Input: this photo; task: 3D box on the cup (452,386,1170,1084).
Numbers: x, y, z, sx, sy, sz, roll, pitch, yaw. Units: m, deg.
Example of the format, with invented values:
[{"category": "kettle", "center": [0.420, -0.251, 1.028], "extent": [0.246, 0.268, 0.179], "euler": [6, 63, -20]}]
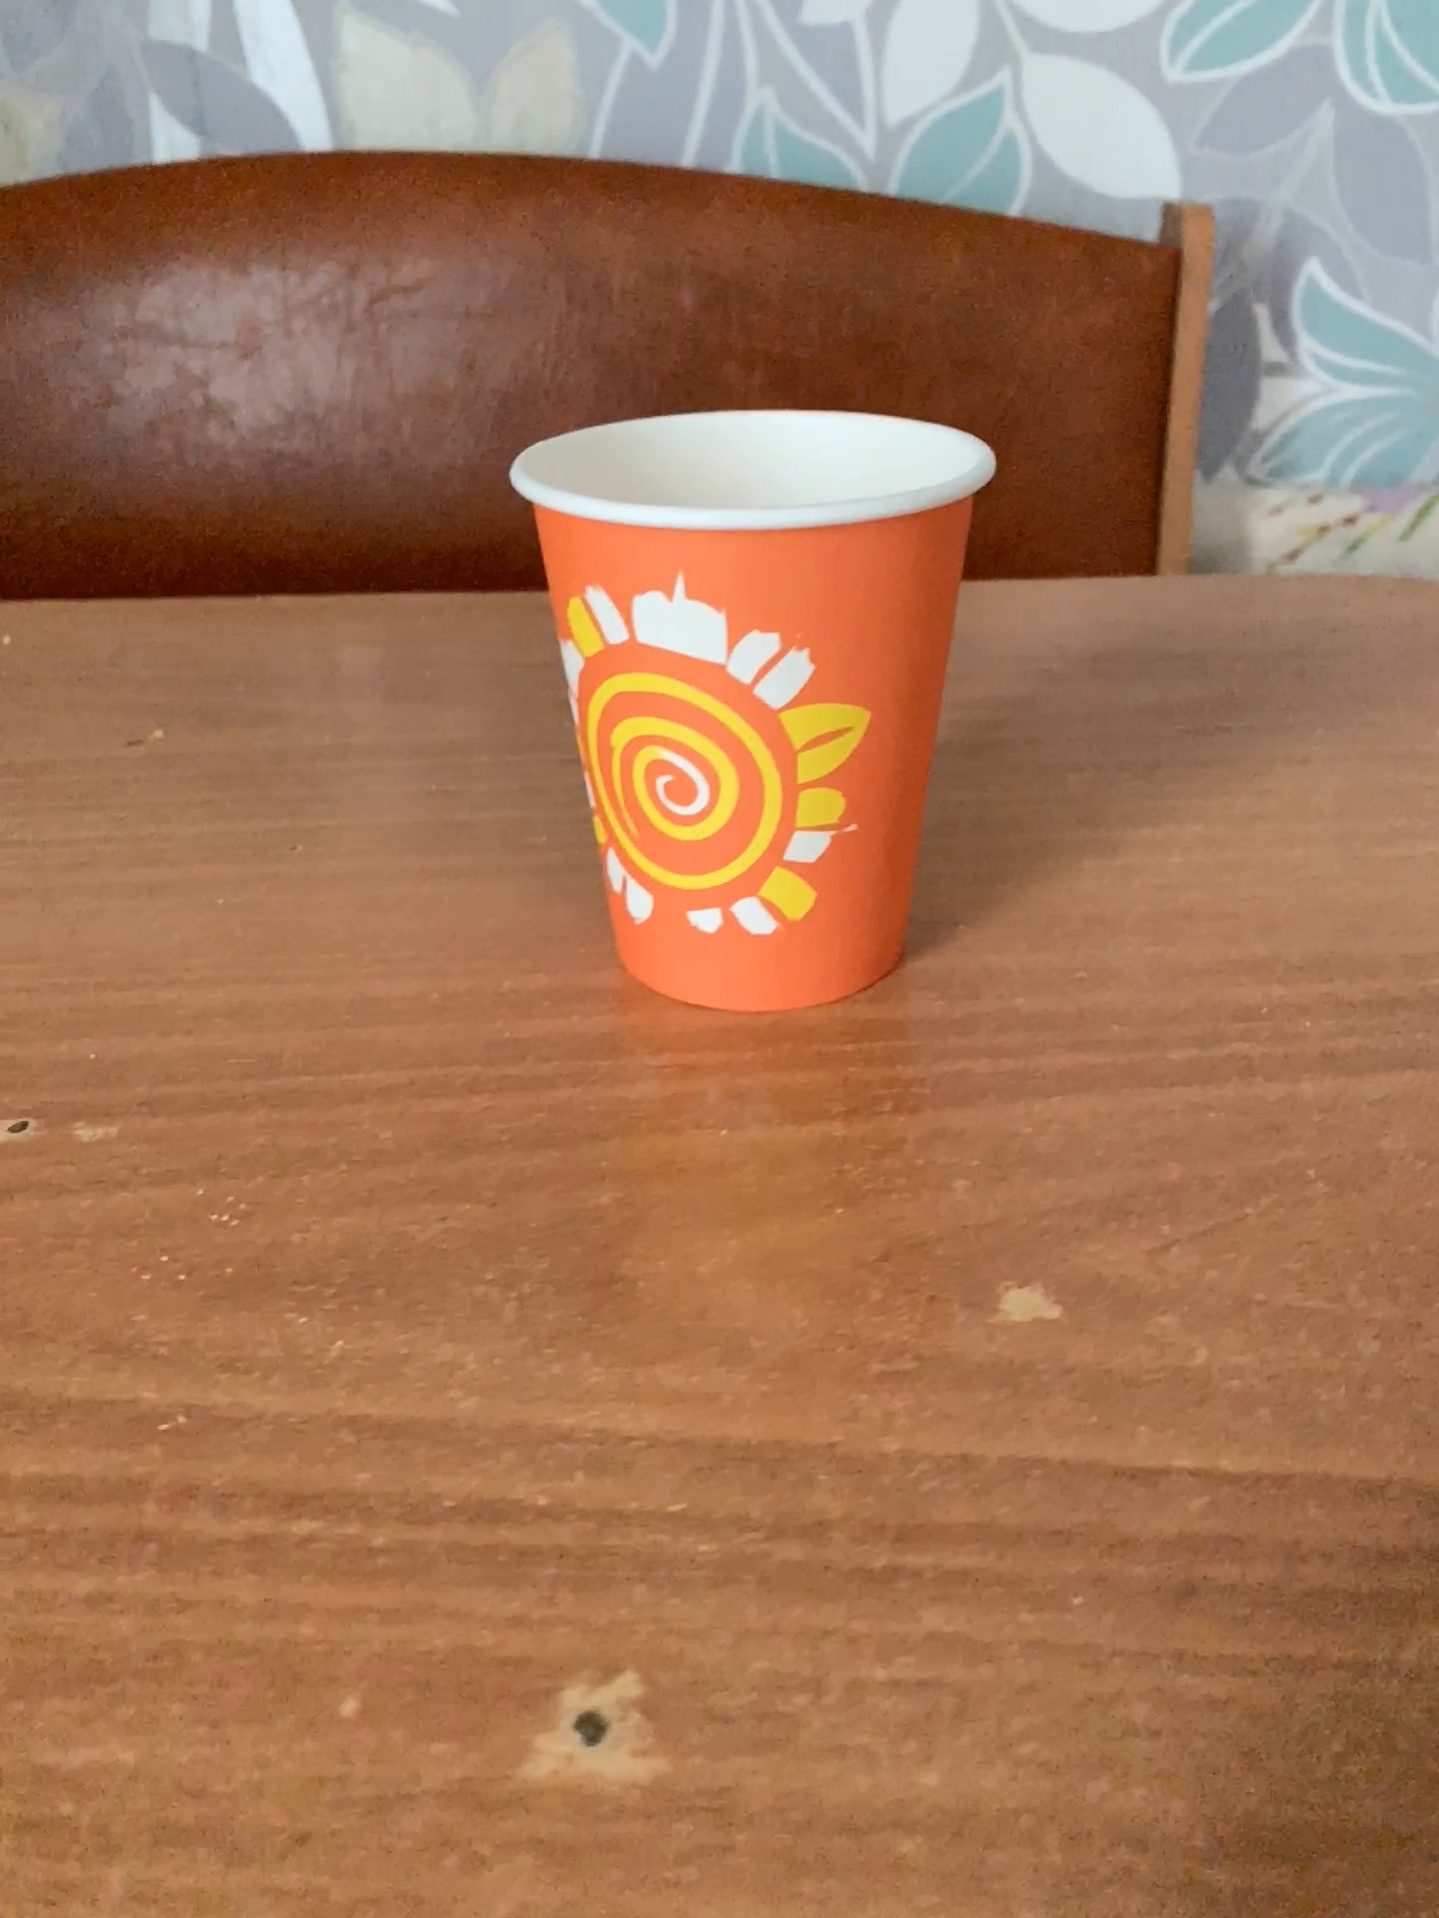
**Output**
[{"category": "cup", "center": [0.016, -0.048, 0.275], "extent": [0.089, 0.087, 0.084], "euler": [-1, 30, 1]}]
